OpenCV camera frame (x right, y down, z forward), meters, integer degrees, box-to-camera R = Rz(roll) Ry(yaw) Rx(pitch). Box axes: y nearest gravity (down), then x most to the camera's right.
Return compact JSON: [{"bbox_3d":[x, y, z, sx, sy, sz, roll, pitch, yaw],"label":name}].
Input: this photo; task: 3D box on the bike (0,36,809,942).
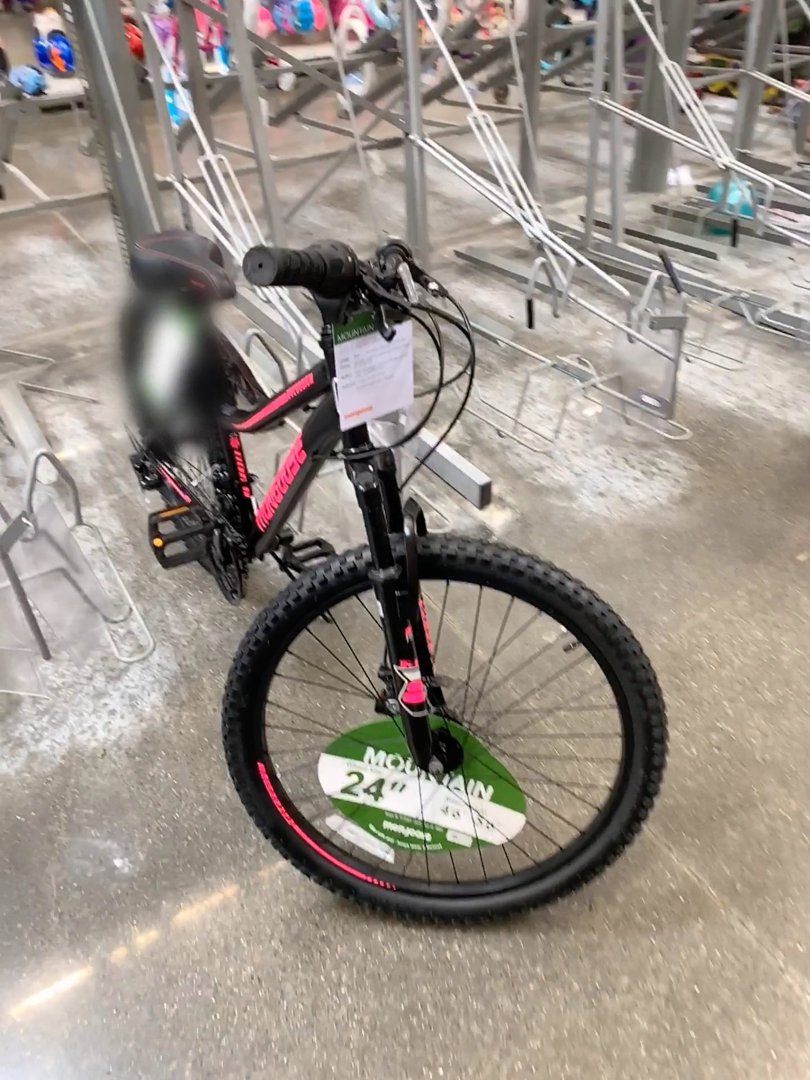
[{"bbox_3d":[-0.154,-0.233,1.393,0.640,0.963,1.406,-30,44,-31],"label":"bike"}]
